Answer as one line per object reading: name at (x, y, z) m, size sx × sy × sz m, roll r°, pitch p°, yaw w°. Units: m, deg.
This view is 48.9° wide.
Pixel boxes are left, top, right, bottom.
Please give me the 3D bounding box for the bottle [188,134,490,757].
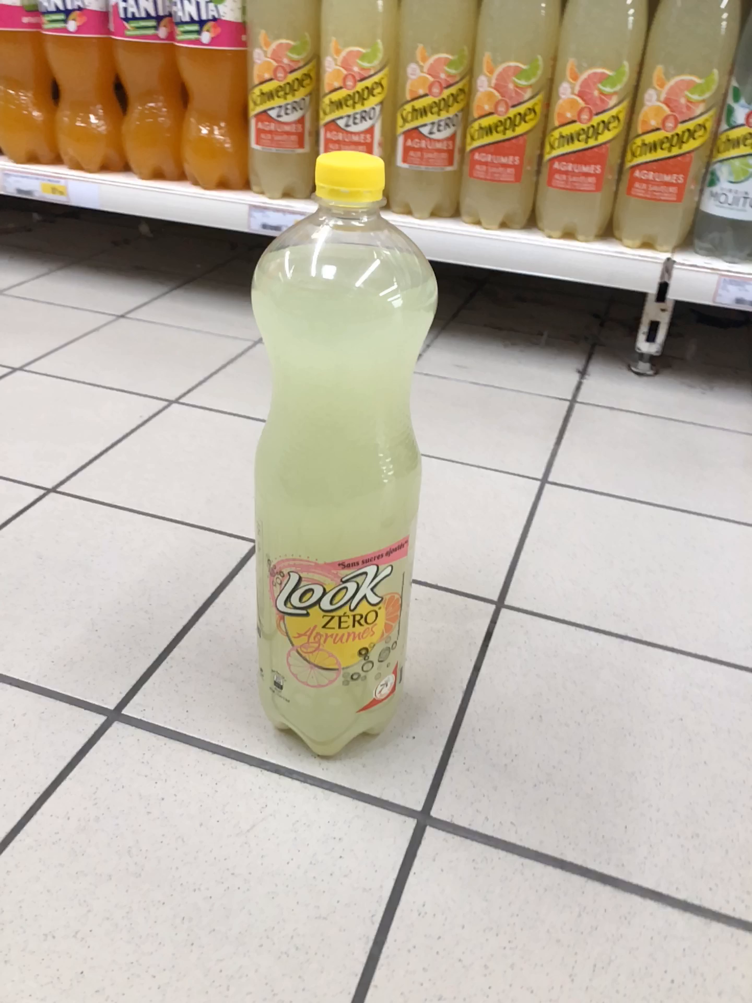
bottle at (-0.023, -0.015, 0.421) m, size 0.110 × 0.298 × 0.101 m, roll 3°, pitch 30°, yaw -2°
